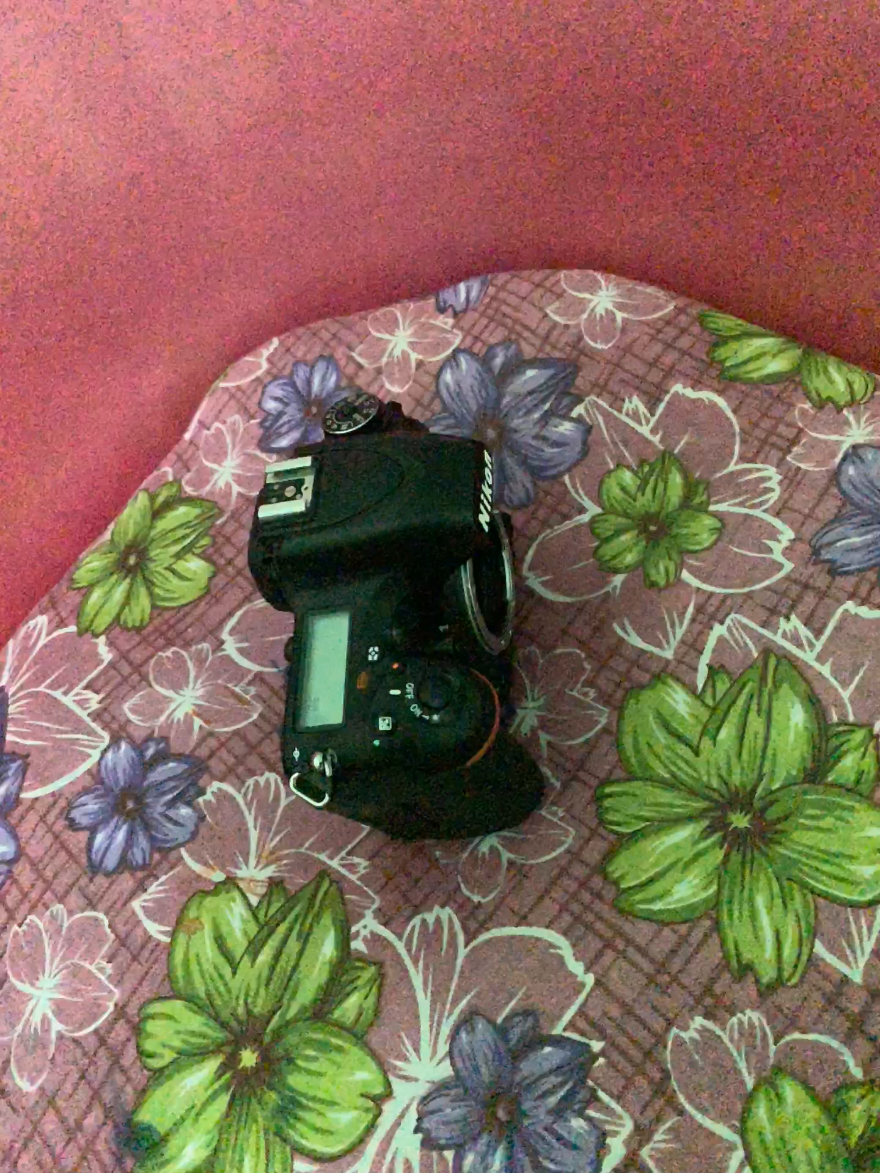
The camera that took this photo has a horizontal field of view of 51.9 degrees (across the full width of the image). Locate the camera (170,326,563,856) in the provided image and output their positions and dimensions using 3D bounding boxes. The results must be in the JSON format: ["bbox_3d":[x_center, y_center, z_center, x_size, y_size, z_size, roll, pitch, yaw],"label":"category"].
[{"bbox_3d":[-0.015,0.007,0.295,0.092,0.090,0.140,-6,64,12],"label":"camera"}]
